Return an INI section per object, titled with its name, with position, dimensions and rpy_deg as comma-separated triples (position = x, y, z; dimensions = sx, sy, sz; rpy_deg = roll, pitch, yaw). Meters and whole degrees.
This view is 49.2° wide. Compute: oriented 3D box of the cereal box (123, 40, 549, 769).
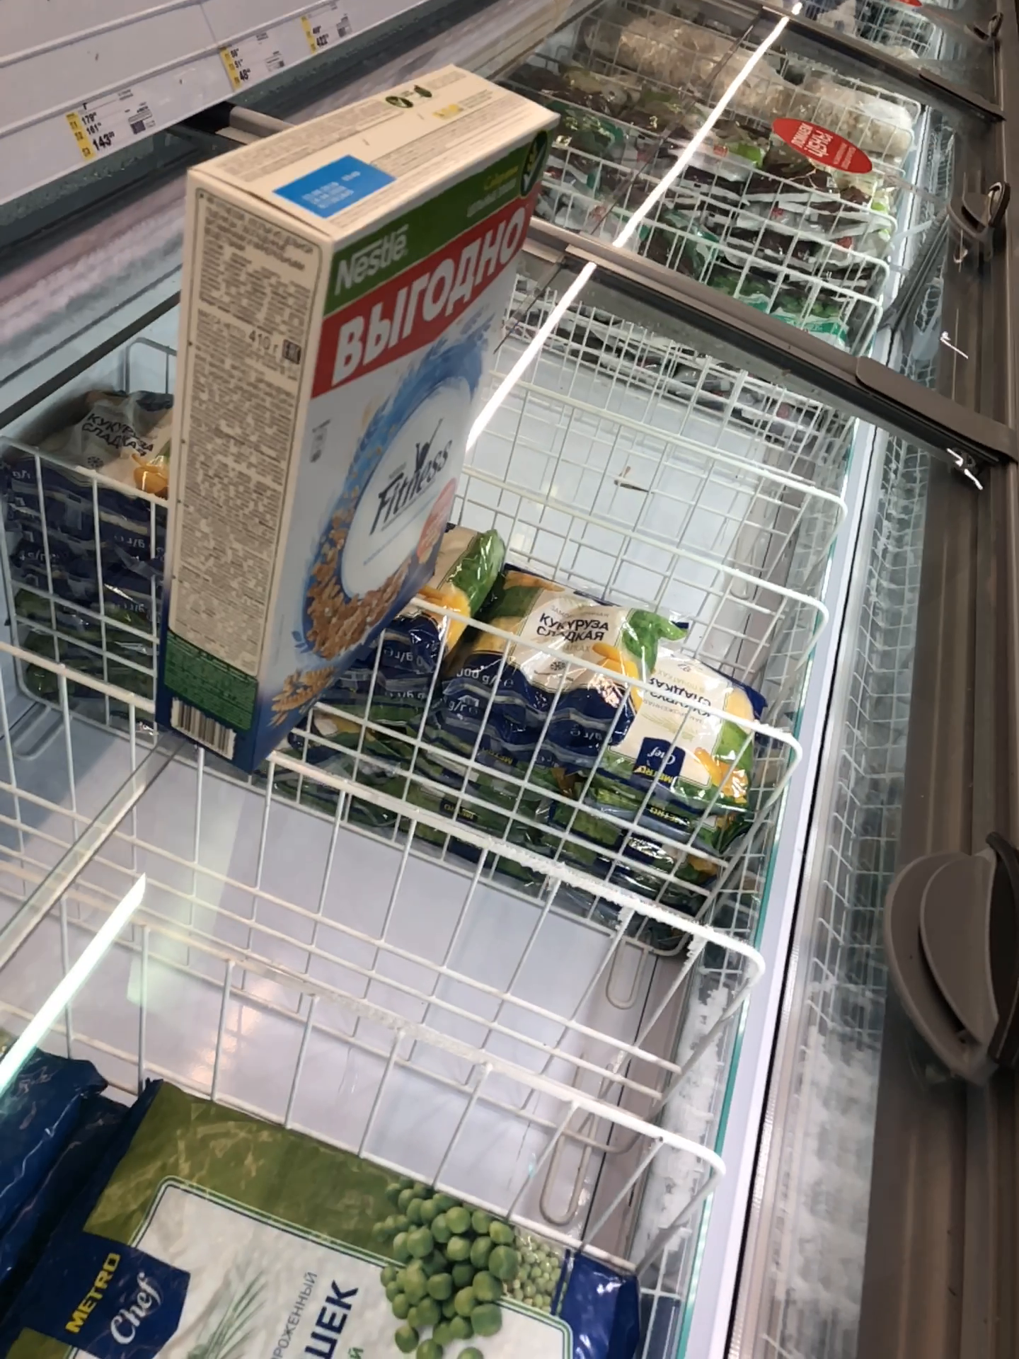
[cereal box]
position = -0.084, -0.120, 0.509
dimensions = 0.060, 0.268, 0.201
rpy_deg = 28, 44, 8
